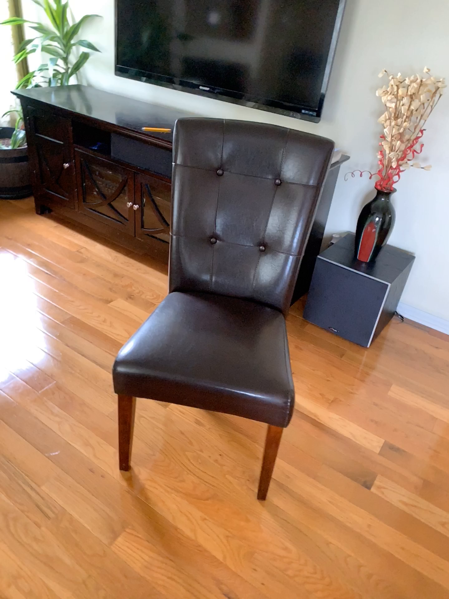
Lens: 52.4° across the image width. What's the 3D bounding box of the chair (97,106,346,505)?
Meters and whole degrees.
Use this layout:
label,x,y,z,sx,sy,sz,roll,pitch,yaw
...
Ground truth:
label,x,y,z,sx,sy,sz,roll,pitch,yaw
chair,0.000,-0.005,1.452,0.497,0.968,0.707,10,33,5
